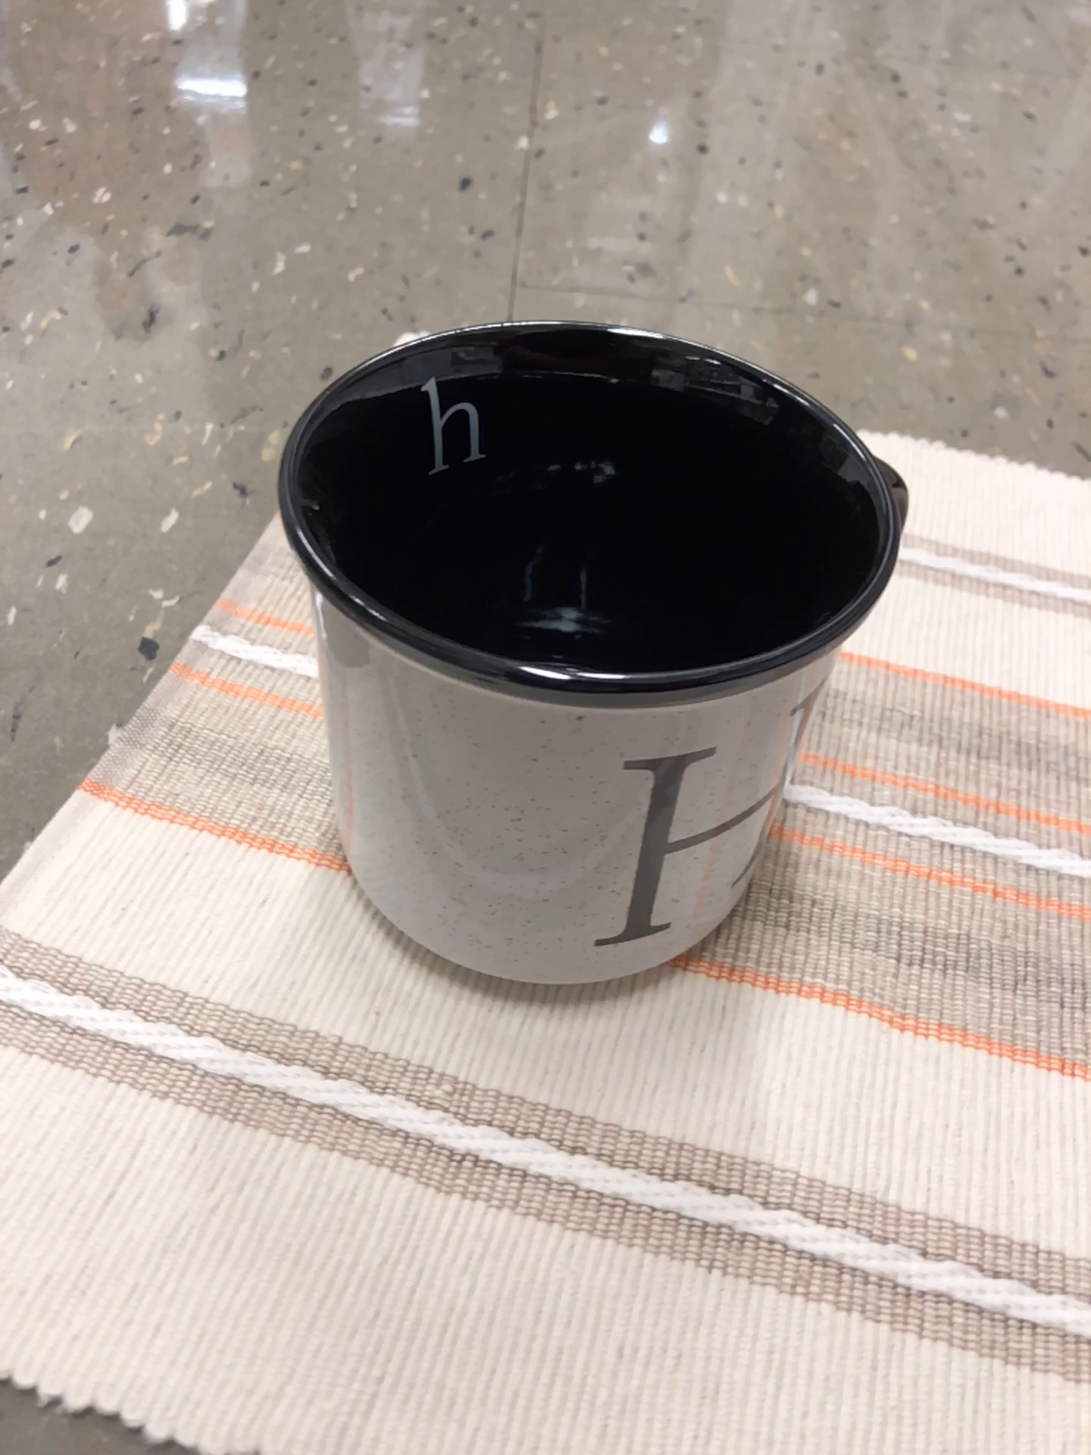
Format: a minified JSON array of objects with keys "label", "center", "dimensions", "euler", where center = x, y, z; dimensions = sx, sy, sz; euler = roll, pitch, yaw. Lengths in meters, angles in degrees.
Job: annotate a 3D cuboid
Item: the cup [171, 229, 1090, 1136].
[{"label":"cup","center":[0.019,-0.017,0.244],"dimensions":[0.140,0.100,0.100],"euler":[-23,53,-26]}]
